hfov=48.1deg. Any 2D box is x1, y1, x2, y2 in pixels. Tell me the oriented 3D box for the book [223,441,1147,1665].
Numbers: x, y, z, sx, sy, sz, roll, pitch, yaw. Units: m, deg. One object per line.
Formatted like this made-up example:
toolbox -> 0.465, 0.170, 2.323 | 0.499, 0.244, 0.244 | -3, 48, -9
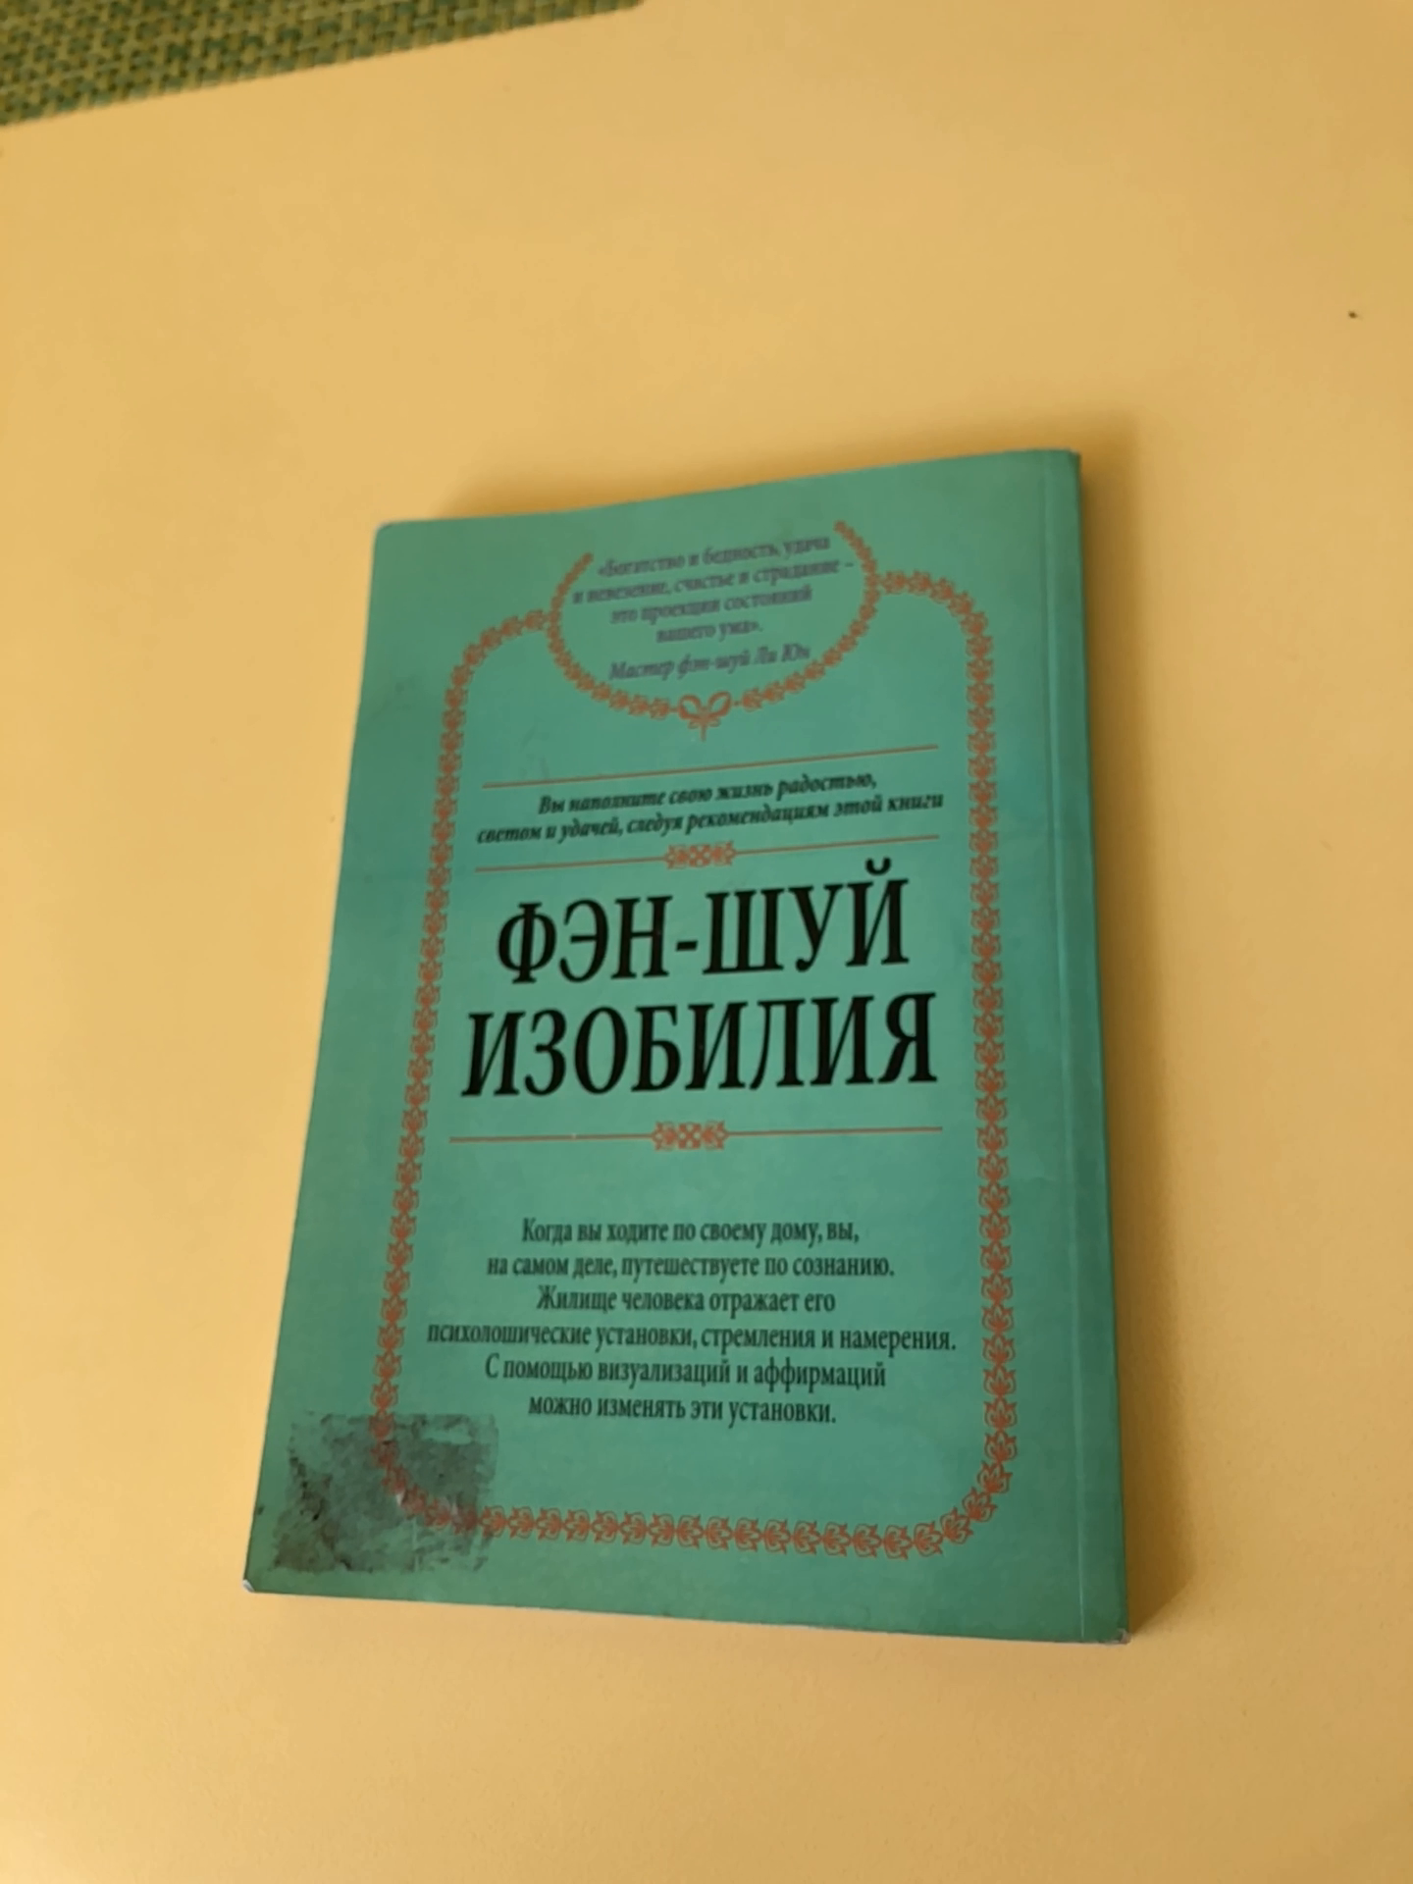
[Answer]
book -> -0.001, 0.010, 0.231 | 0.118, 0.020, 0.166 | -3, 70, 14
